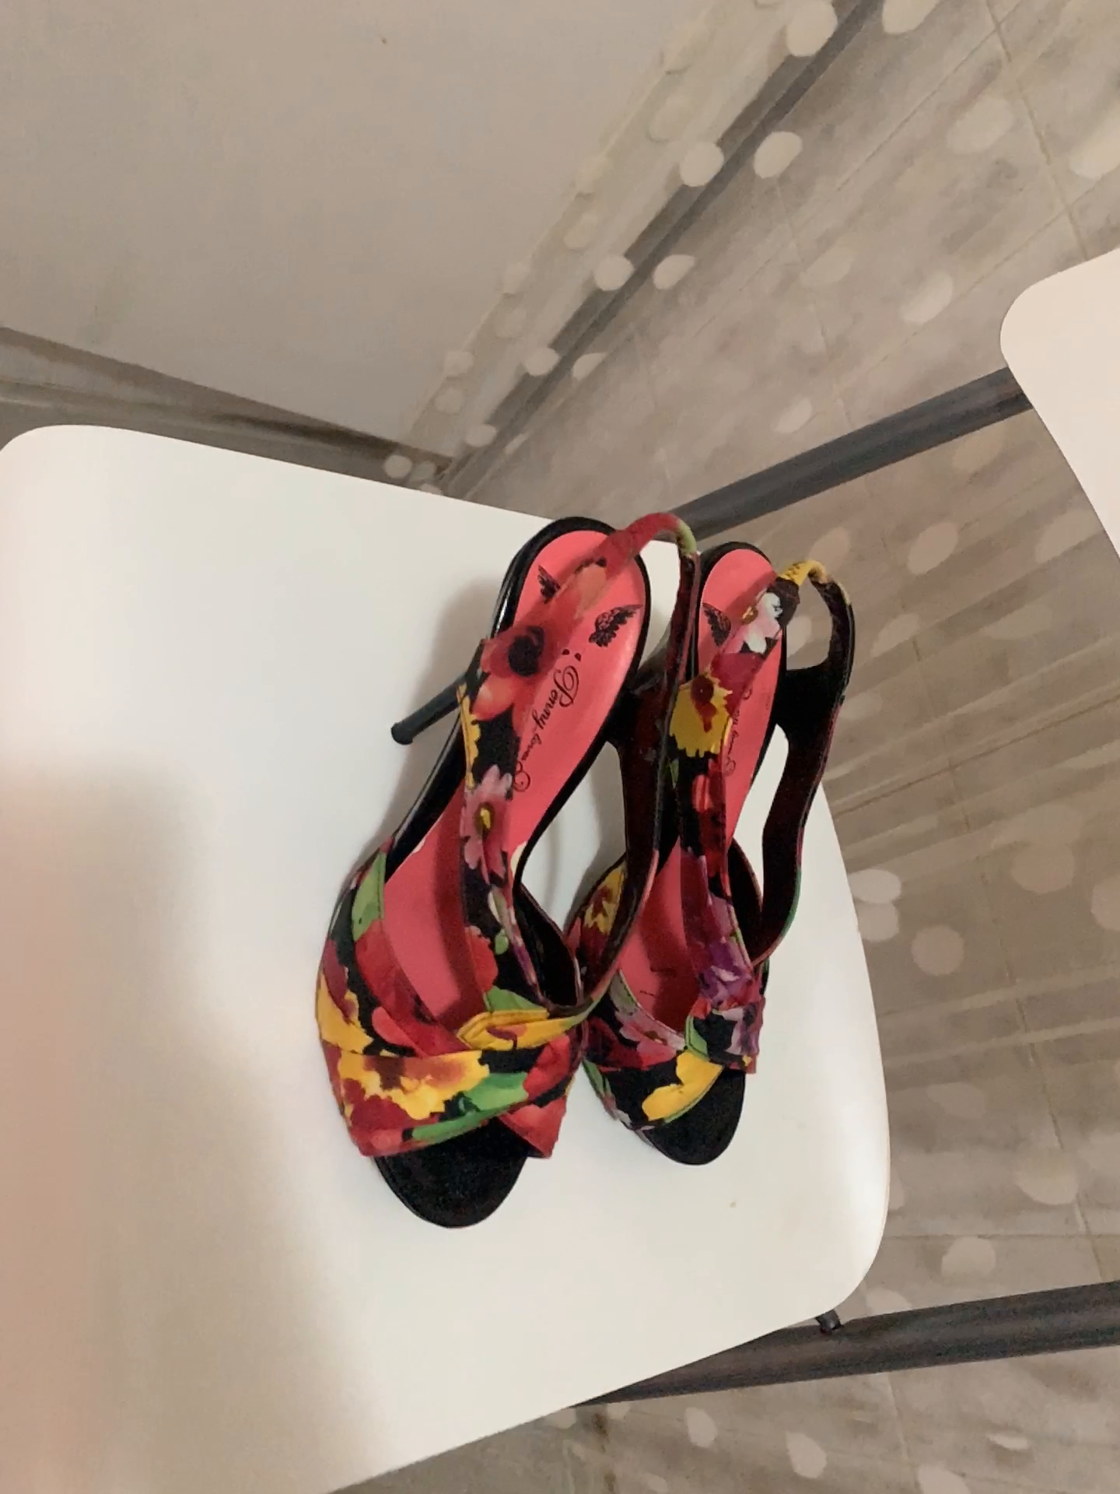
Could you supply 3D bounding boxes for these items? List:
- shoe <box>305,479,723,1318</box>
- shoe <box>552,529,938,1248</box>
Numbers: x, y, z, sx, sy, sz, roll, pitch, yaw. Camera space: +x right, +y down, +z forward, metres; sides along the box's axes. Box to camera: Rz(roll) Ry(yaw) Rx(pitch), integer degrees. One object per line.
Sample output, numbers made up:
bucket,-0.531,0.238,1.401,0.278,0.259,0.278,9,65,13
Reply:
shoe,-0.013,0.040,0.333,0.083,0.074,0.205,9,80,-30
shoe,0.058,0.042,0.386,0.080,0.085,0.205,0,85,-33
